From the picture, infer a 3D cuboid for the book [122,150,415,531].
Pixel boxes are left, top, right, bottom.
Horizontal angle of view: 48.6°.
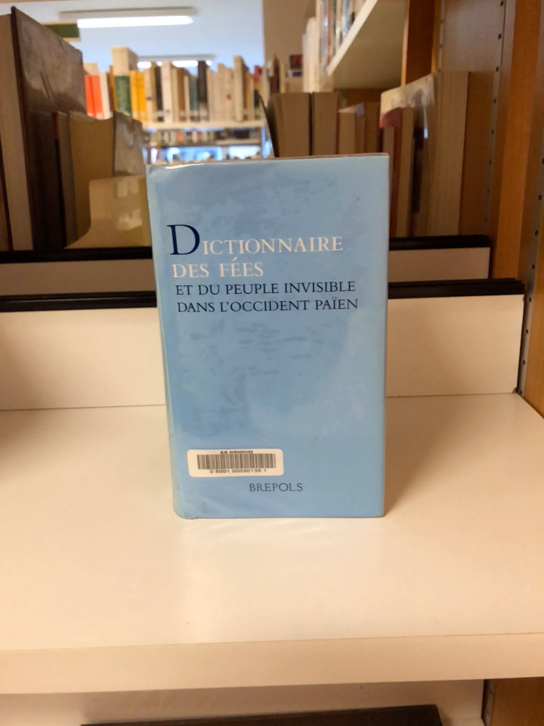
[{"bbox_3d":[0.003,-0.010,0.316,0.125,0.186,0.060,-1,20,3],"label":"book"}]
